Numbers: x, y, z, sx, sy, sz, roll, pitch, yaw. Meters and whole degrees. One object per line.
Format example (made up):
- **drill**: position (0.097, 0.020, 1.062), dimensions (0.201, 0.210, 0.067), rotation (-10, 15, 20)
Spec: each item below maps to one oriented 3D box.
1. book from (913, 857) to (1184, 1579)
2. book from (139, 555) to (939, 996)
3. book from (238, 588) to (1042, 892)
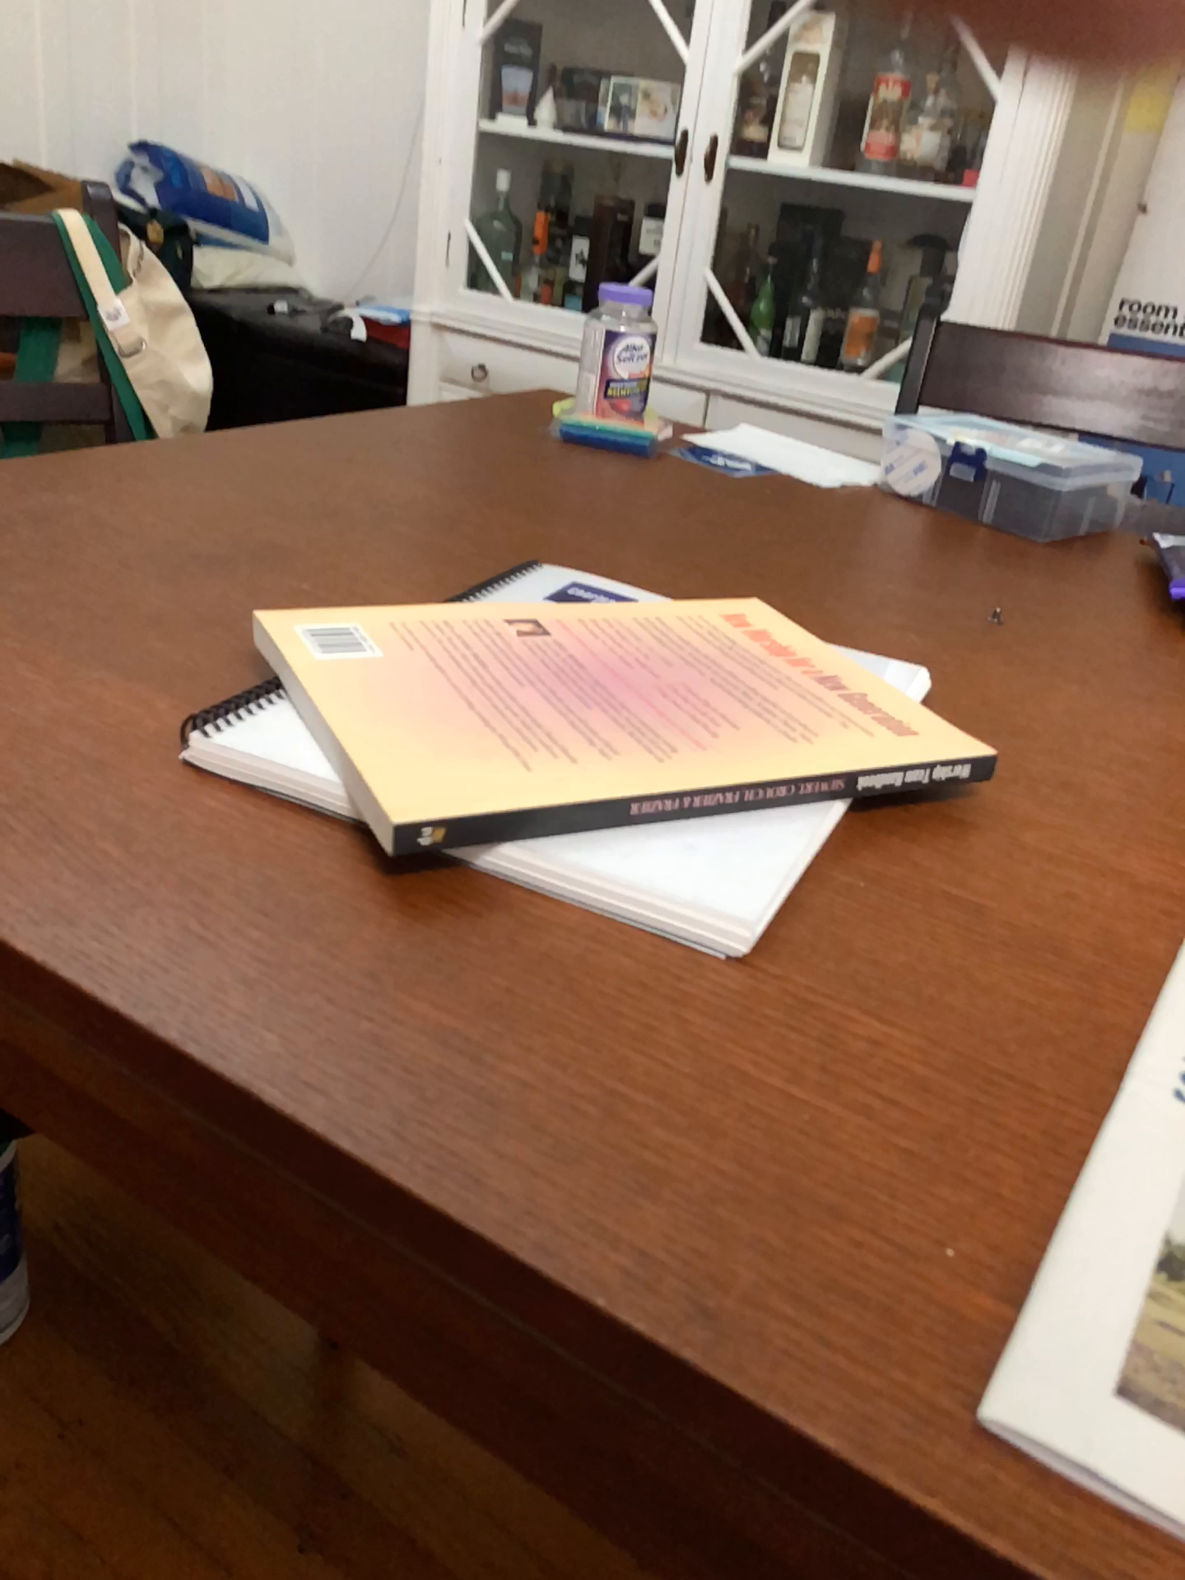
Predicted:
- **book**: position (0.218, 0.105, 0.312), dimensions (0.200, 0.010, 0.271), rotation (22, 29, 26)
- **book**: position (0.003, -0.032, 0.545), dimensions (0.230, 0.020, 0.292), rotation (17, 28, 19)
- **book**: position (0.013, -0.035, 0.514), dimensions (0.260, 0.020, 0.191), rotation (-7, 30, -27)
